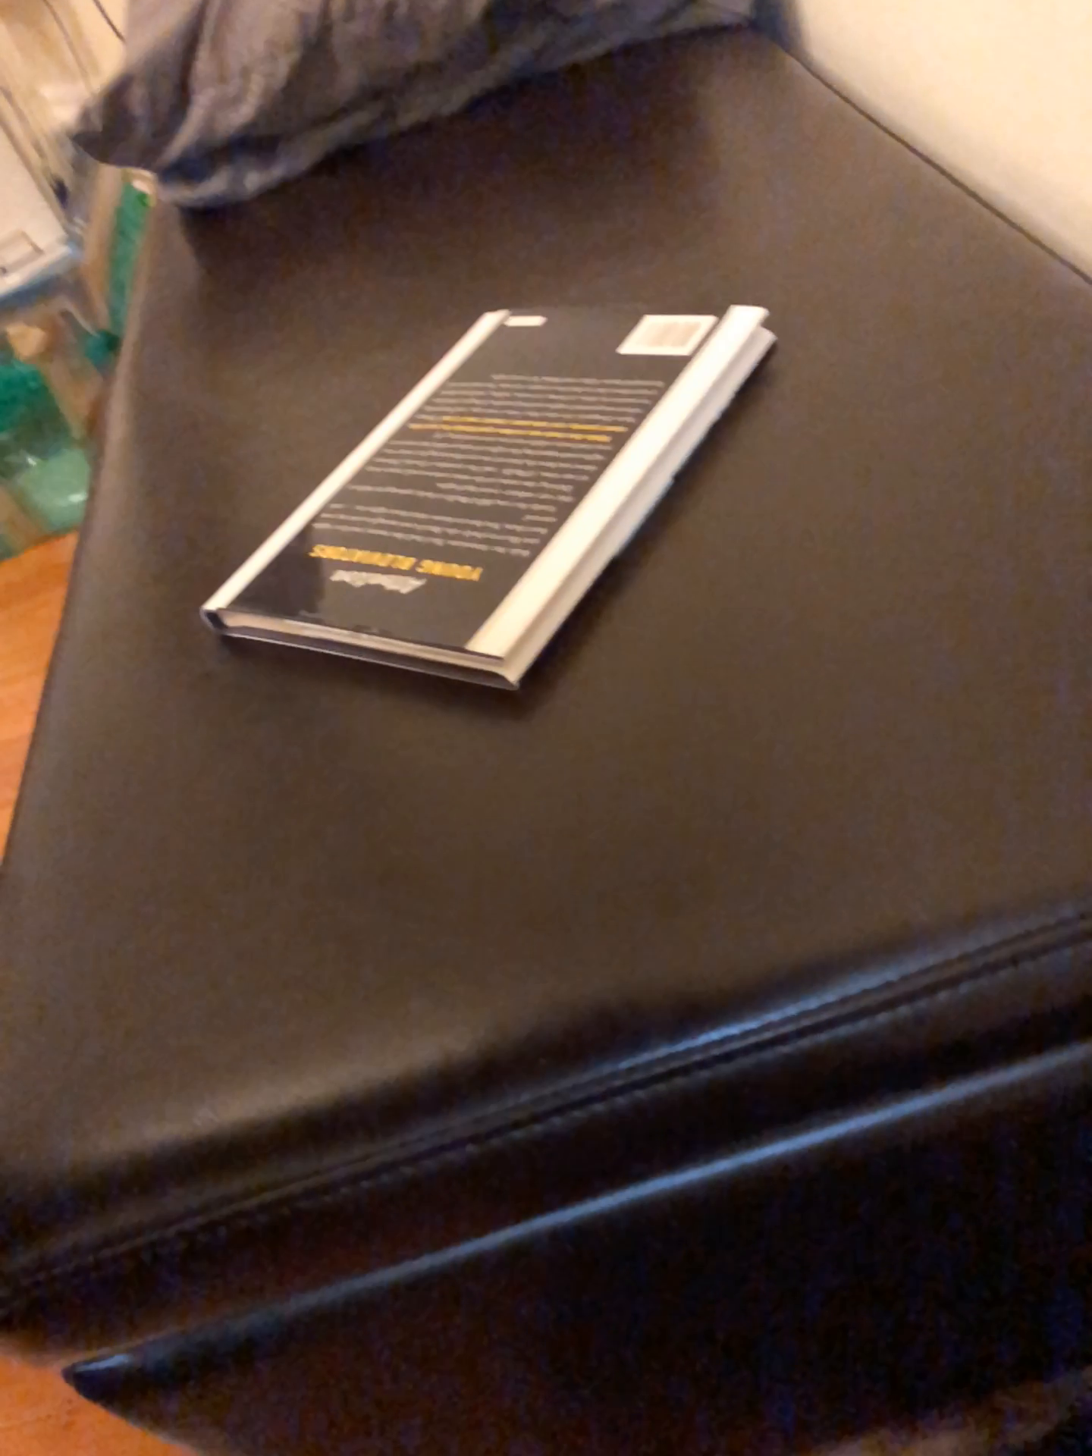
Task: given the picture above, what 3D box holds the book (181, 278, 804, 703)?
[{"bbox_3d":[-0.016,-0.110,0.483,0.160,0.020,0.231,12,52,33],"label":"book"}]
